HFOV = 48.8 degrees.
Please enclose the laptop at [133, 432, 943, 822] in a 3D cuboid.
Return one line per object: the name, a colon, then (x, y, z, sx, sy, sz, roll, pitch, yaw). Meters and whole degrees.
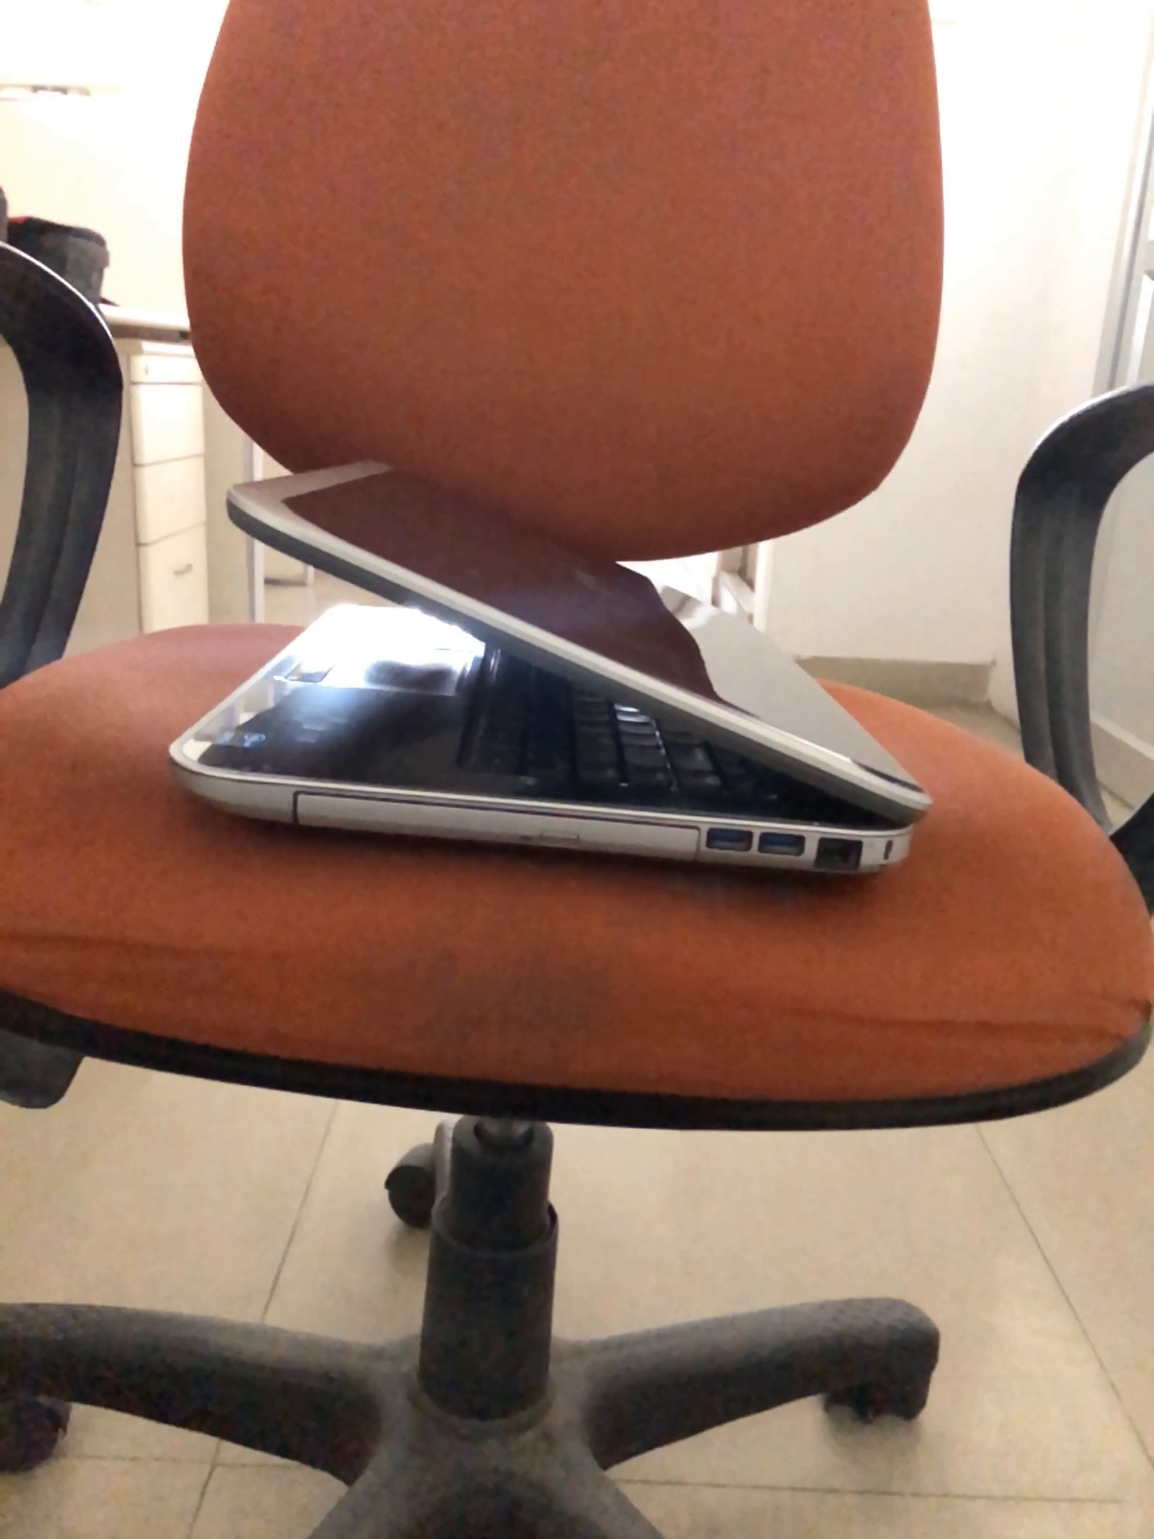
laptop: (-0.016, -0.086, 0.554, 0.233, 0.091, 0.367, 5, 15, -3)
